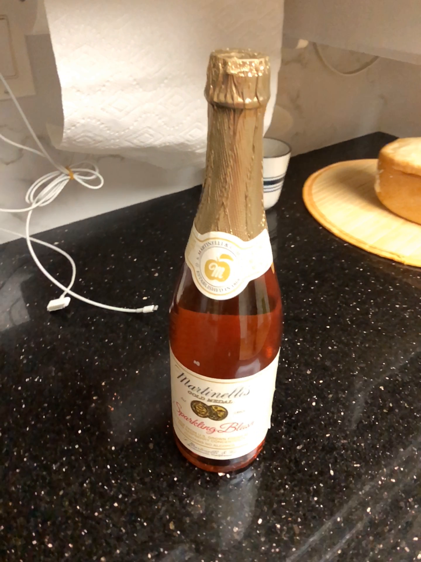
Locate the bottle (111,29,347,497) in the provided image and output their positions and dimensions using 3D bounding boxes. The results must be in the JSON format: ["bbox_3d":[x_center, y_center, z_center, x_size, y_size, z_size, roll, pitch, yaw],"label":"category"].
[{"bbox_3d":[0.011,0.008,0.313,0.090,0.298,0.090,1,36,-1],"label":"bottle"}]
